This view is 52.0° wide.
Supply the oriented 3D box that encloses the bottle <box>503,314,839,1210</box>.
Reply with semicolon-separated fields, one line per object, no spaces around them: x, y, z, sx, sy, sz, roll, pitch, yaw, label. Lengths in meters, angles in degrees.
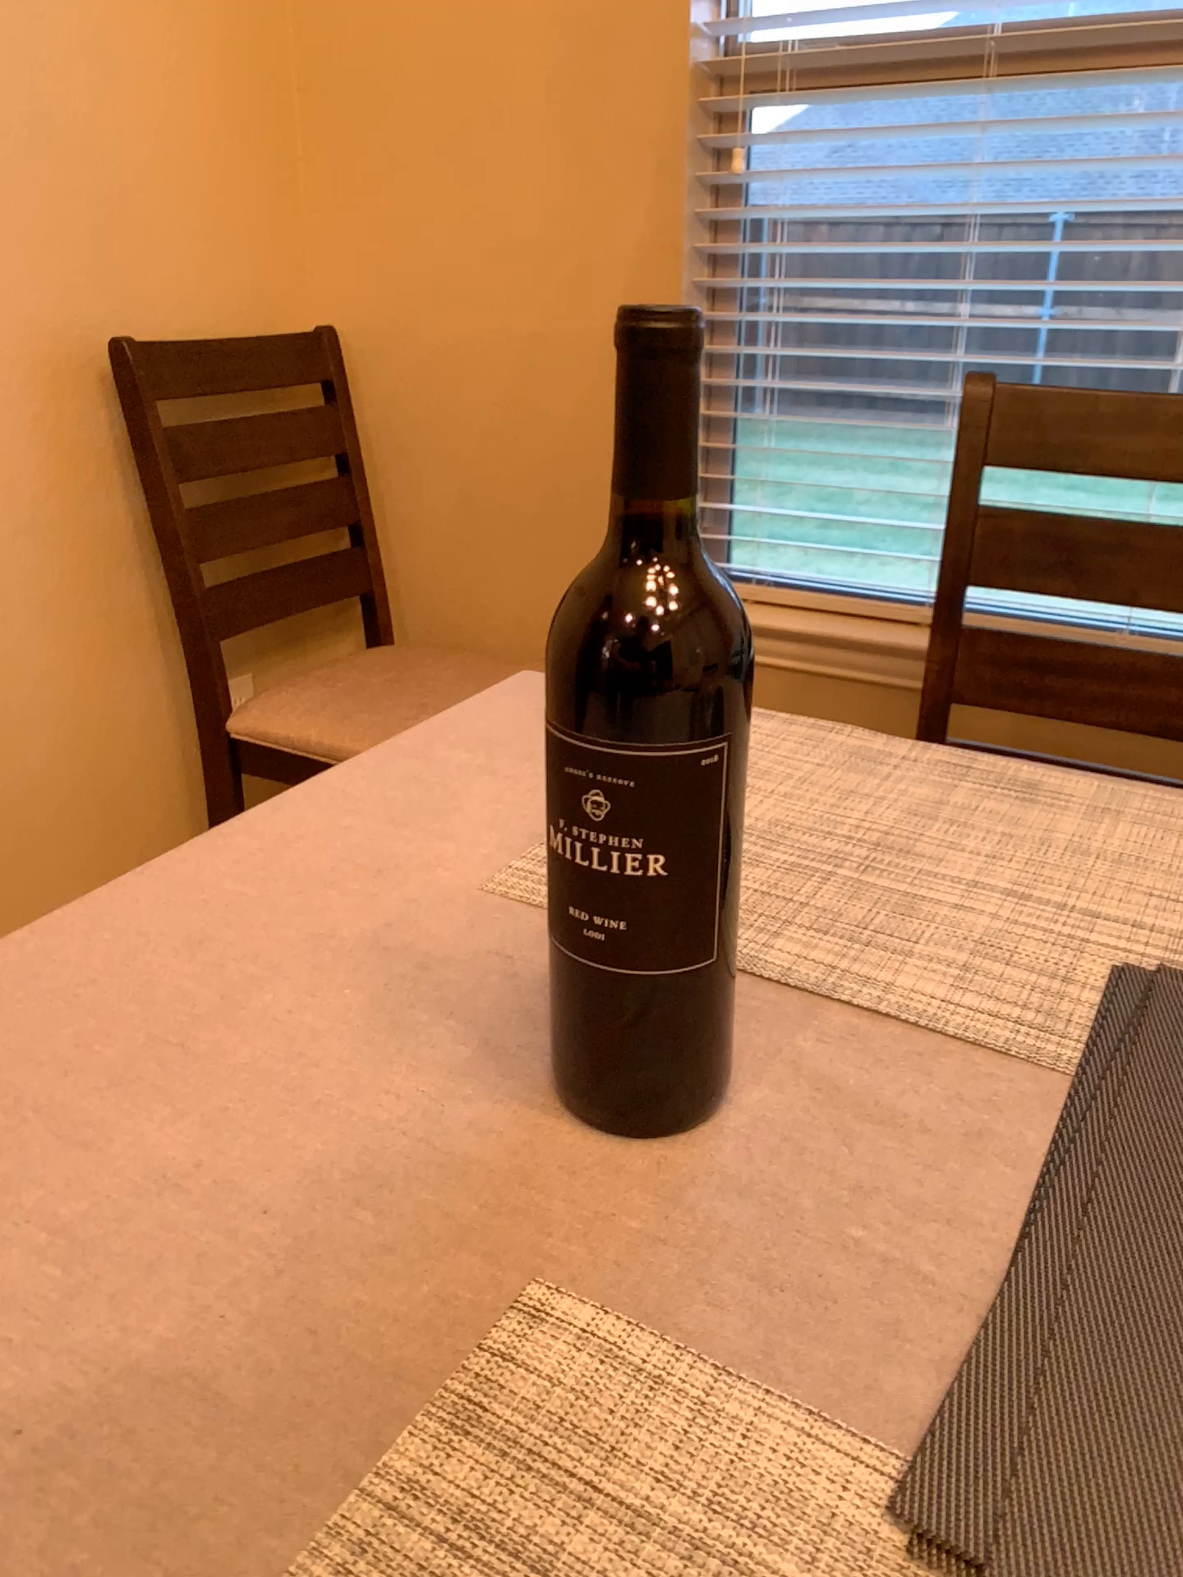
0.027;-0.006;0.451;0.080;0.314;0.080;0;23;0;bottle
